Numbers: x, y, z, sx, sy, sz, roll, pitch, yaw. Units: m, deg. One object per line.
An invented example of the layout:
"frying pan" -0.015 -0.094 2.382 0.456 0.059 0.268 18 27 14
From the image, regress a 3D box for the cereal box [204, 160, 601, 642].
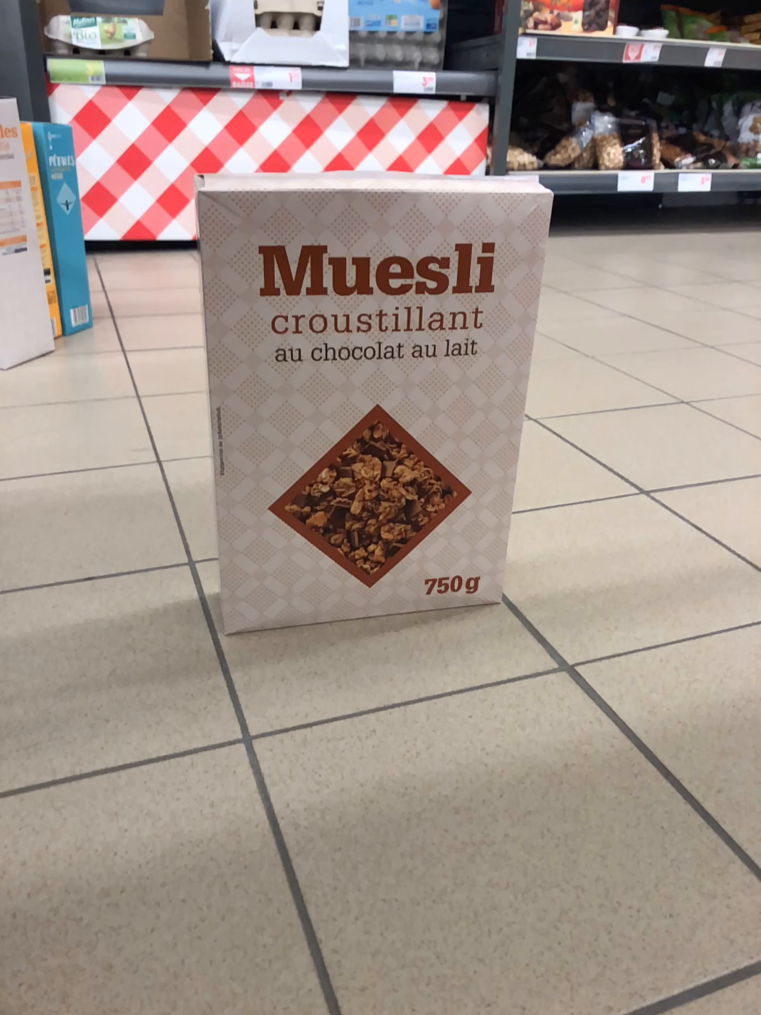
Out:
"cereal box" 0.006 -0.058 0.498 0.200 0.268 0.060 -4 28 -12
